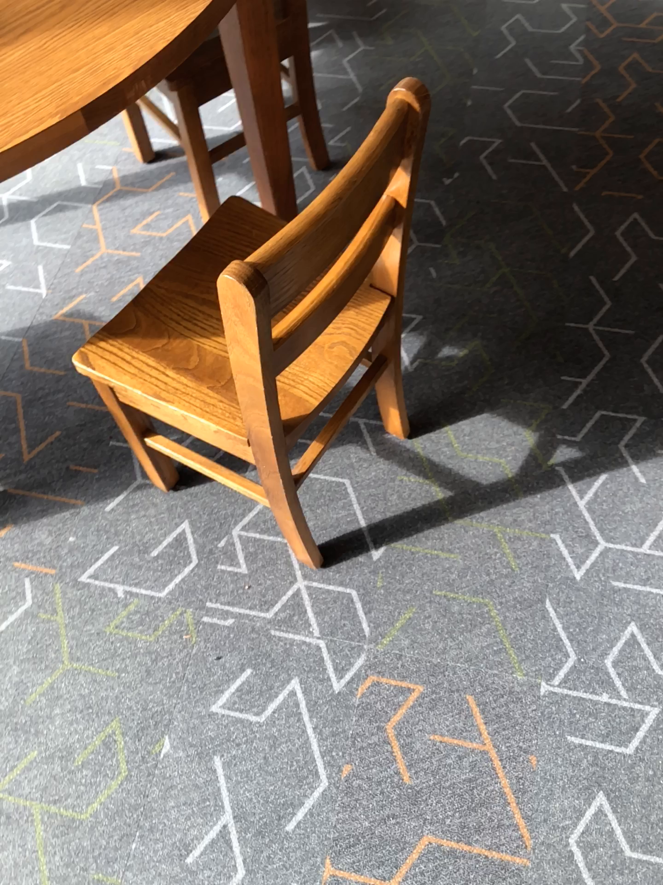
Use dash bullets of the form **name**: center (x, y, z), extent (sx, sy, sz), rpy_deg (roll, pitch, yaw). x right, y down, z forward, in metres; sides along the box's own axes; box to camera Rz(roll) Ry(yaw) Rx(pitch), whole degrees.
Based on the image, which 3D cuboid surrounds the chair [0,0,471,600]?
- **chair**: center (-0.114, -0.151, 0.951), extent (0.391, 0.667, 0.371), rpy_deg (26, 65, 17)
